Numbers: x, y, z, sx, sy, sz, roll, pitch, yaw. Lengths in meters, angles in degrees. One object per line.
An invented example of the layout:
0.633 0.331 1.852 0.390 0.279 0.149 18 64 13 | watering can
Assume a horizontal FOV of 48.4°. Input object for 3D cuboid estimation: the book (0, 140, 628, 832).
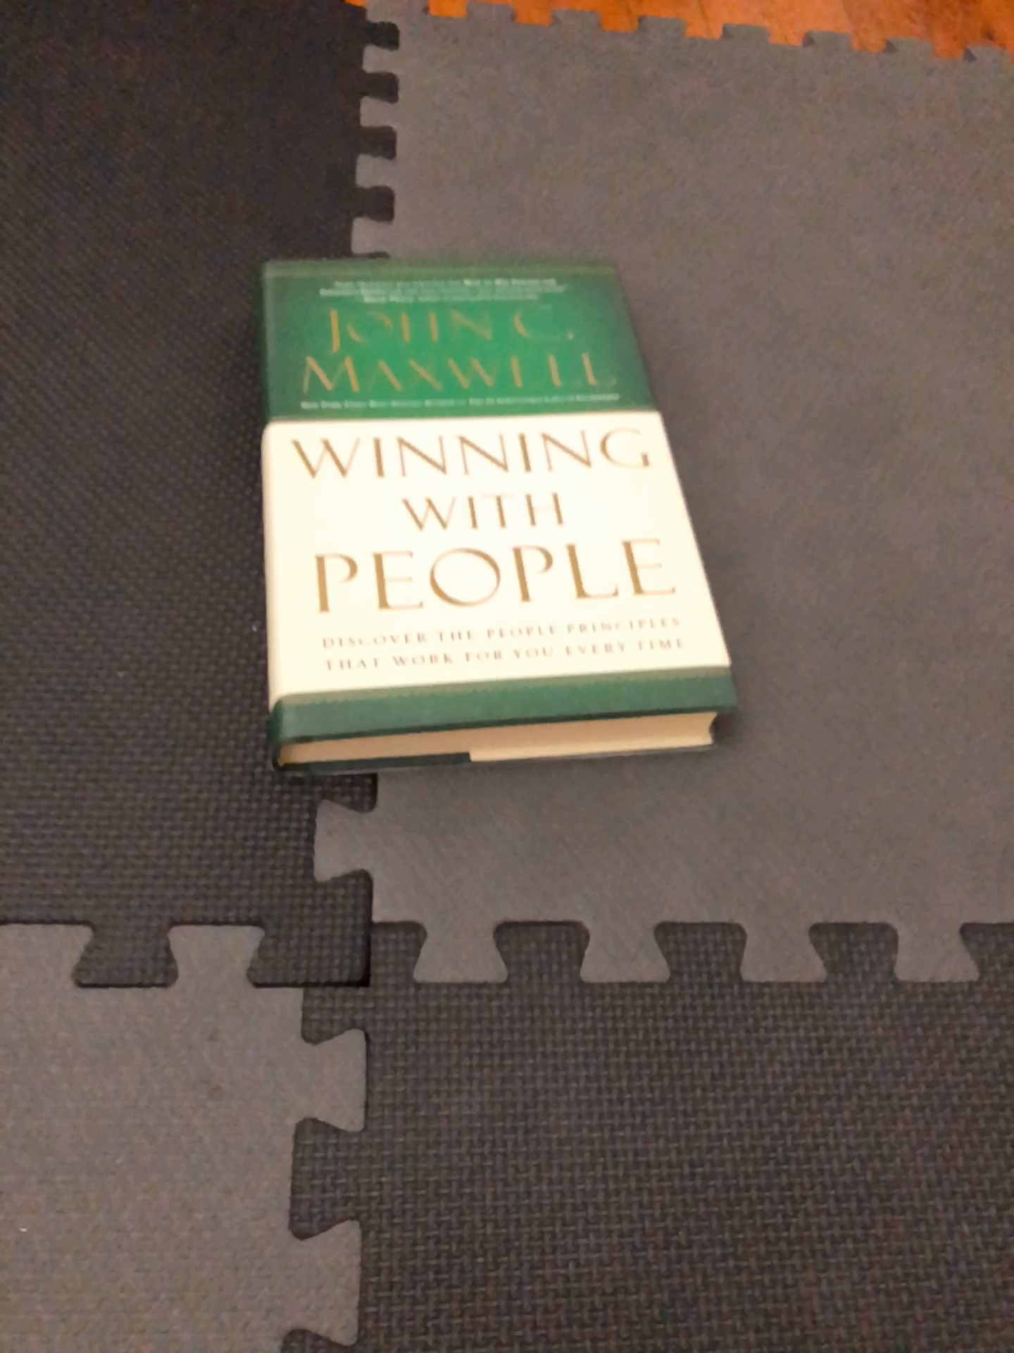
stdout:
-0.080 -0.088 0.400 0.200 0.030 0.291 -1 57 -8 | book
